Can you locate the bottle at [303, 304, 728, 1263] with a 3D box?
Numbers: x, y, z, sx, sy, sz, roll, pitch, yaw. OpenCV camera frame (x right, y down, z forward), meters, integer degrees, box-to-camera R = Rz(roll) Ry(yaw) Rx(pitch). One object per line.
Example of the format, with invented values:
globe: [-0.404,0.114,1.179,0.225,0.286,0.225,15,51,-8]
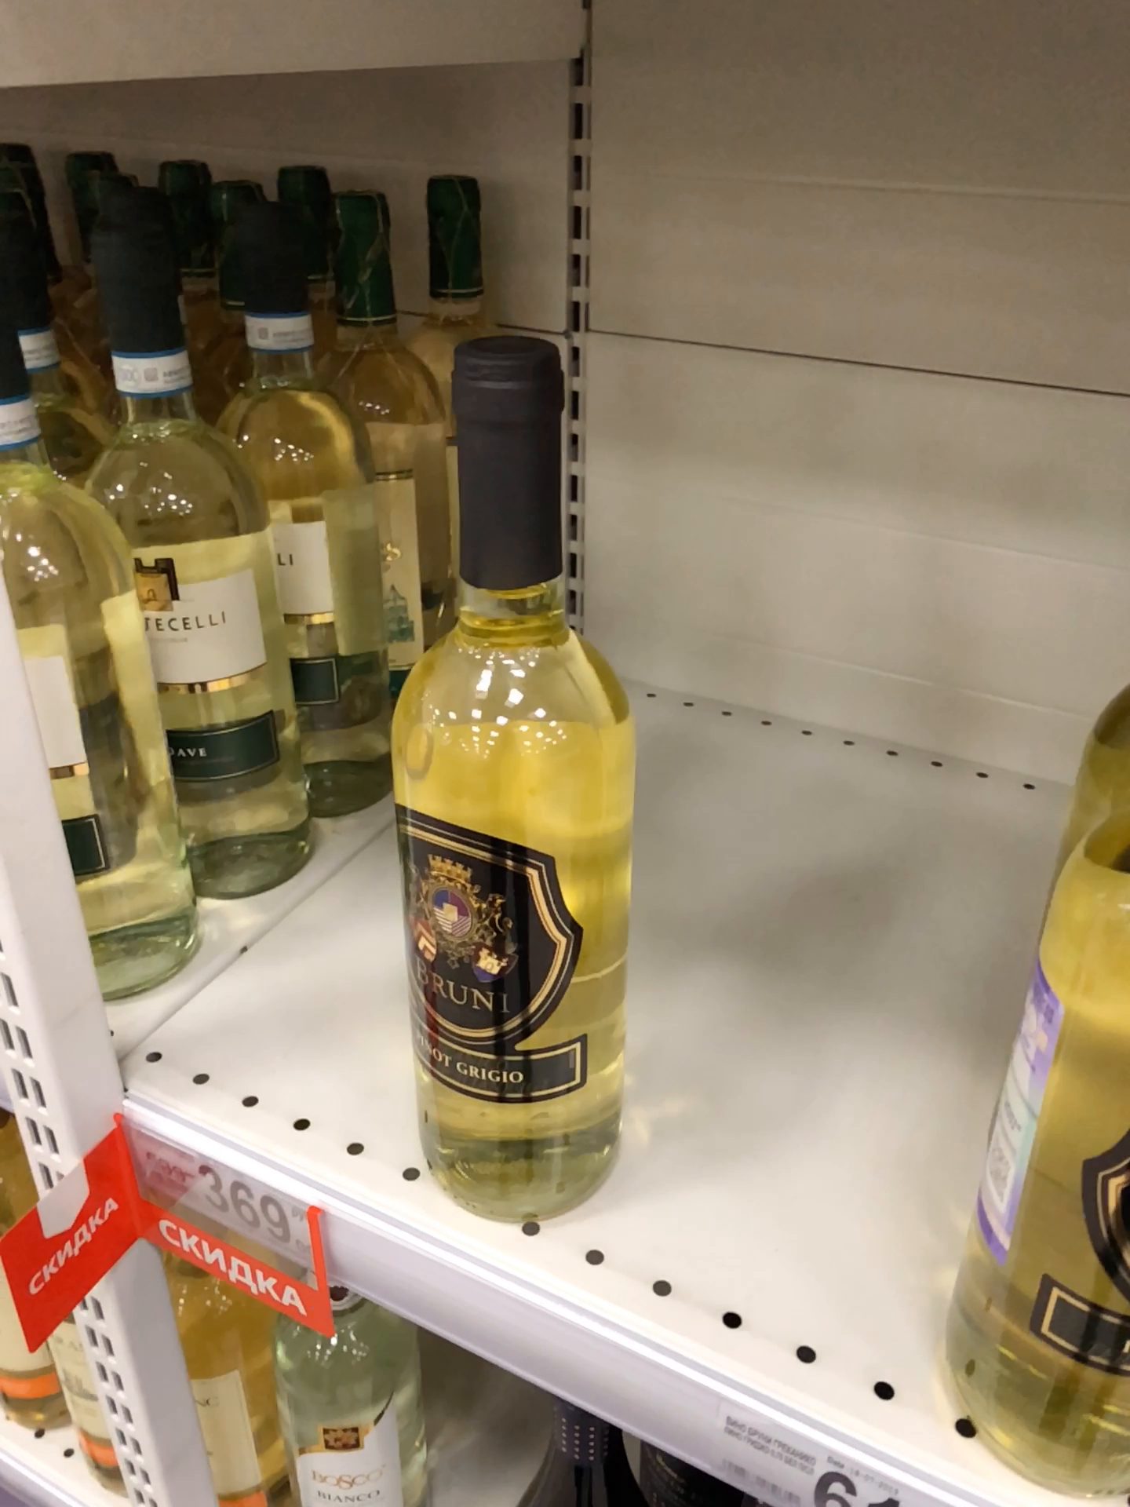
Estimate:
bottle: [-0.012,0.019,0.395,0.080,0.288,0.080,0,30,0]
